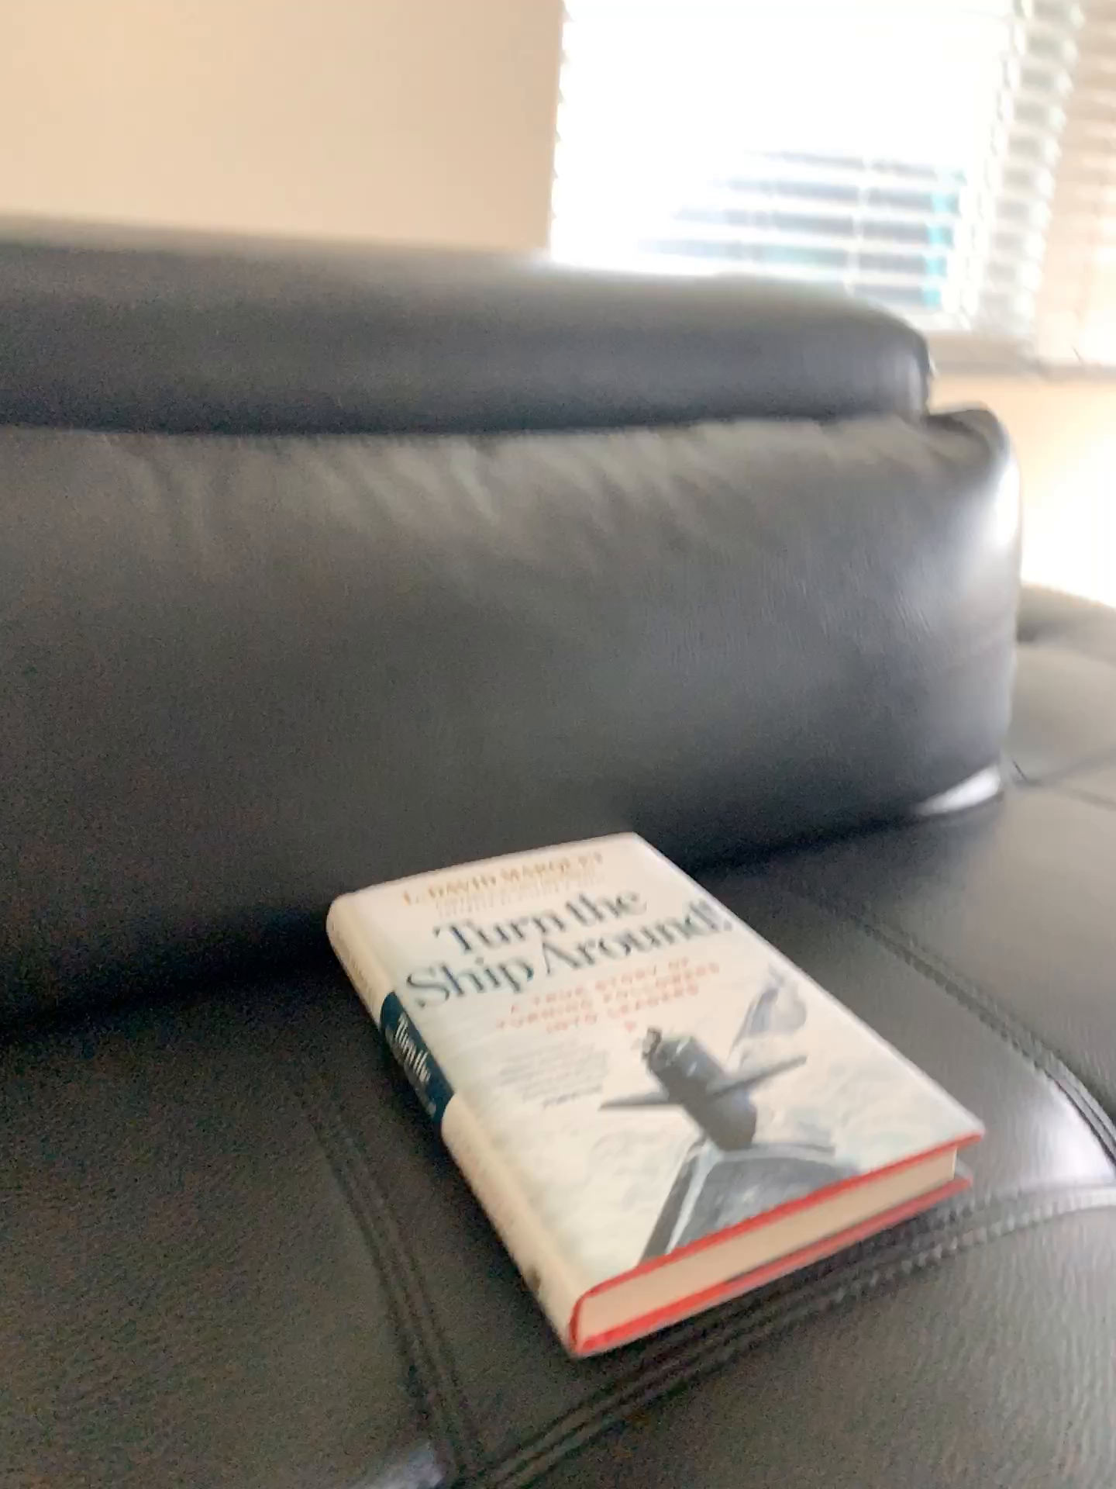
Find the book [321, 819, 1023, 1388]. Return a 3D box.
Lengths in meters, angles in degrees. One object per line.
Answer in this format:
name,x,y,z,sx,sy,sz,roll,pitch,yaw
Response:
book,0.022,0.099,0.414,0.152,0.029,0.227,-9,25,-26
